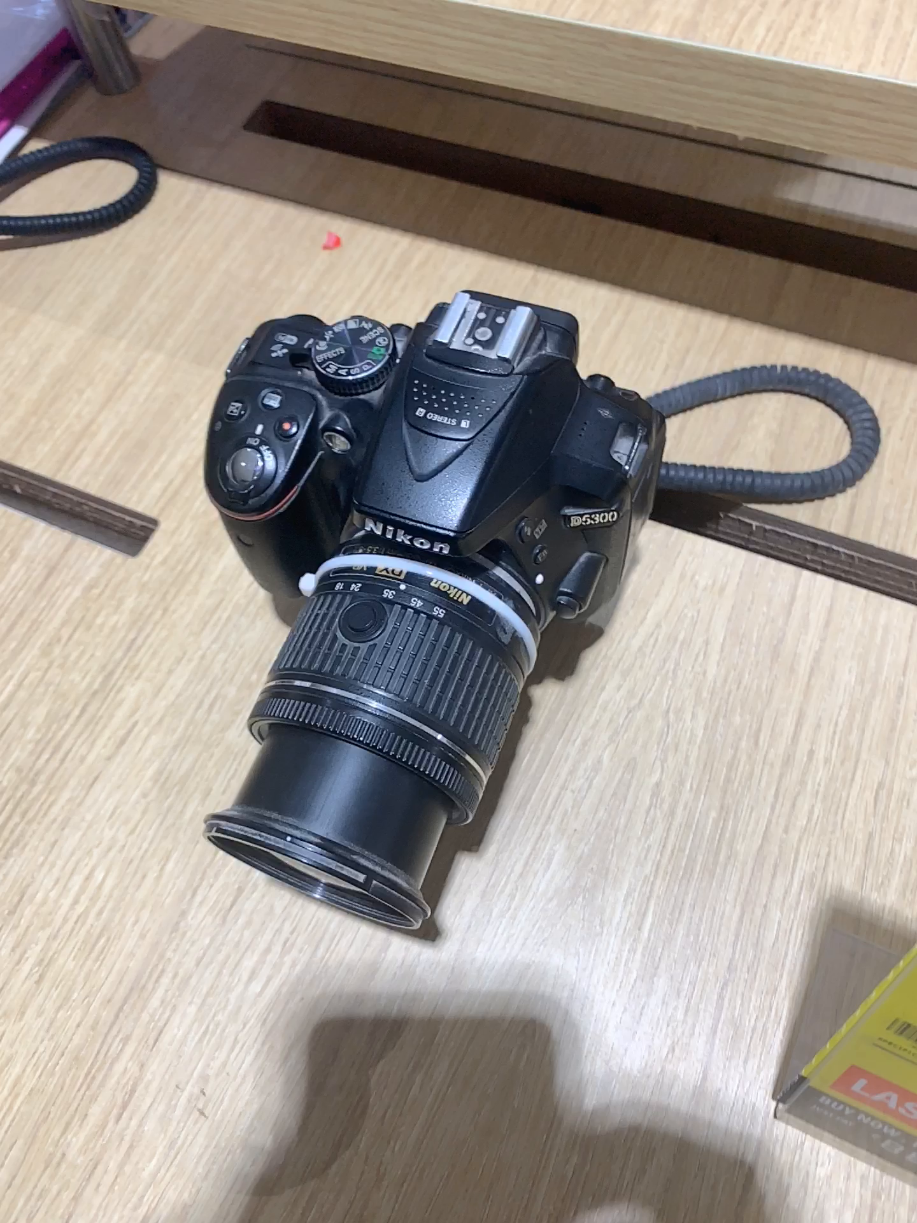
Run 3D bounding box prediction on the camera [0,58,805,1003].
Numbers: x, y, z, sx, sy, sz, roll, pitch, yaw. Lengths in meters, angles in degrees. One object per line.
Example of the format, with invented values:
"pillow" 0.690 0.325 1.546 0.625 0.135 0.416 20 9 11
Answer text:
"camera" -0.017 -0.029 0.277 0.160 0.120 0.210 17 65 15
